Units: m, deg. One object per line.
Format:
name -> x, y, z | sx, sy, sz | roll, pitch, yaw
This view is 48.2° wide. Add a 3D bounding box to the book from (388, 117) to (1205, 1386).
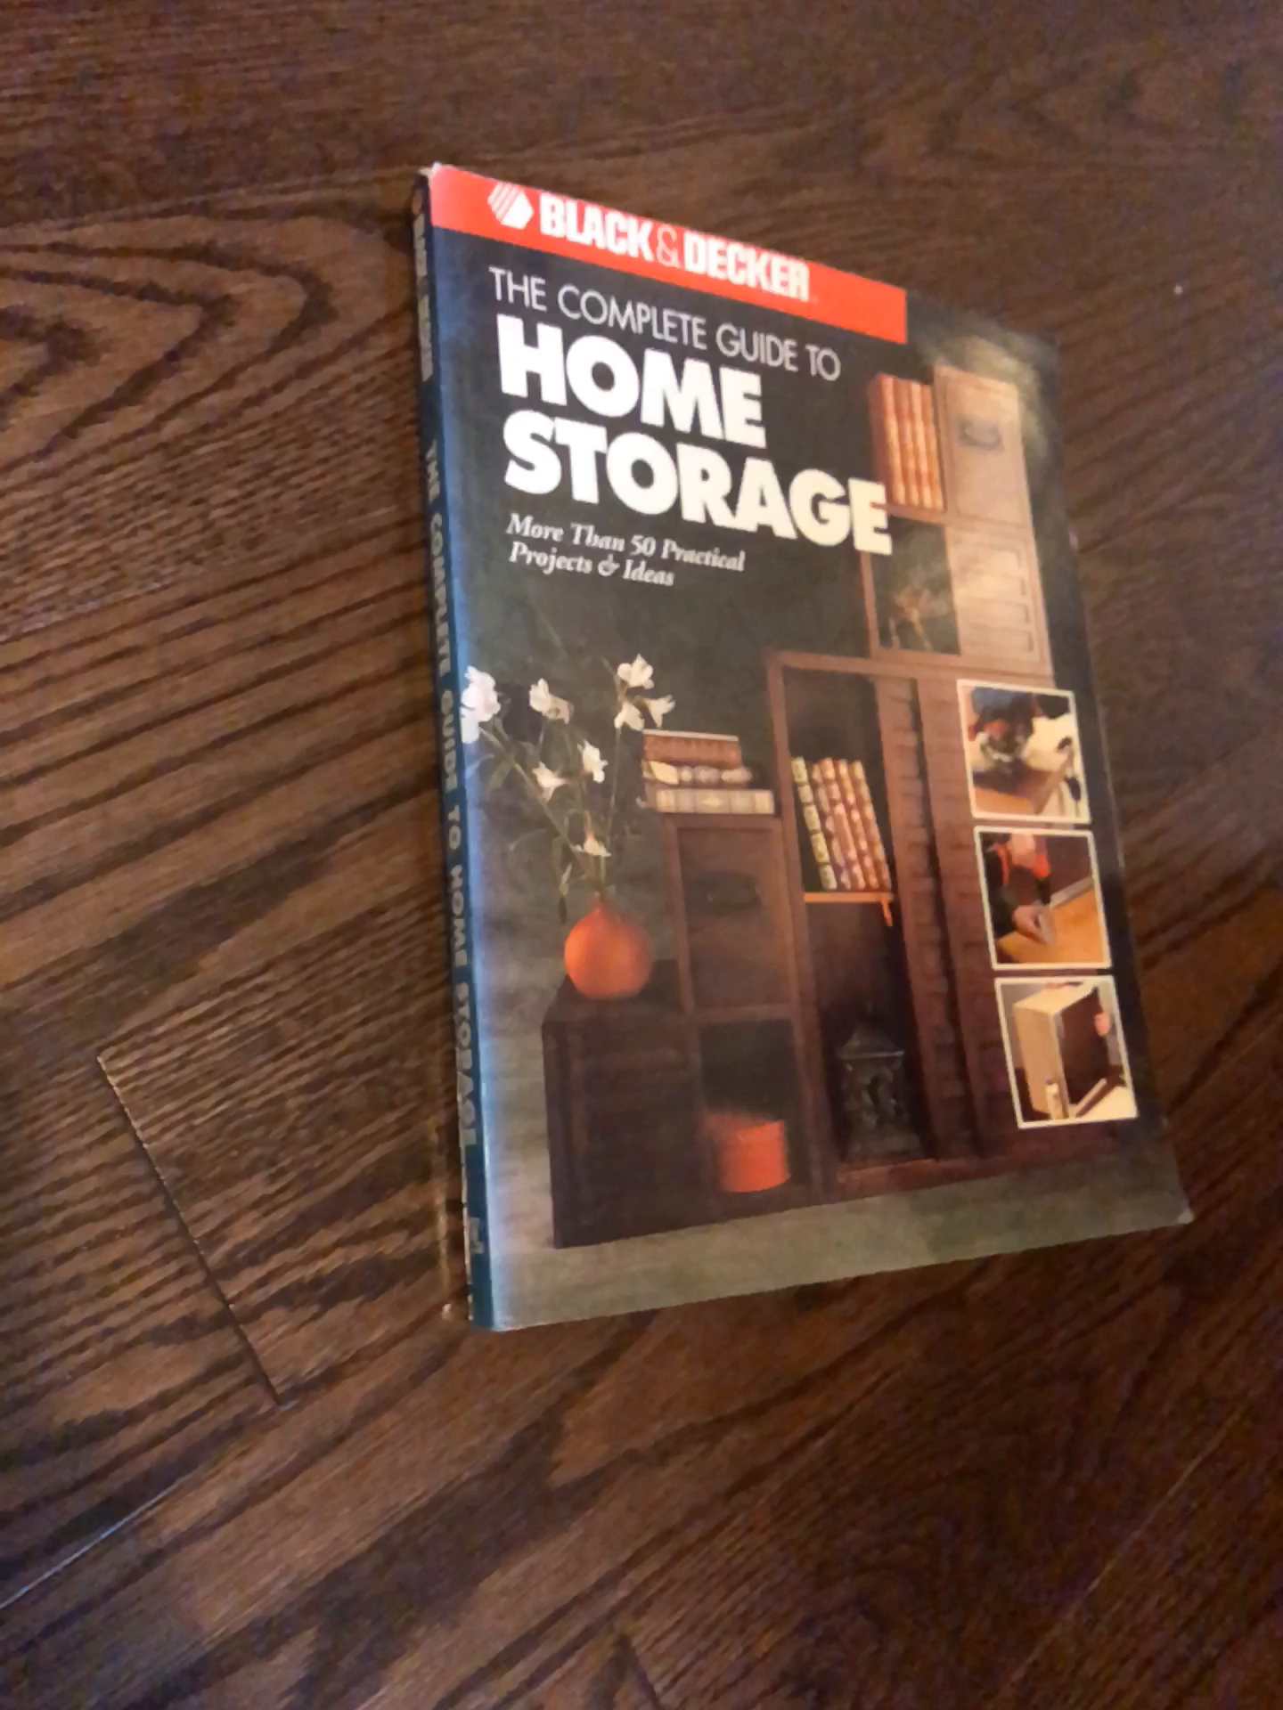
book -> 0.046, -0.030, 0.376 | 0.216, 0.020, 0.287 | 2, 78, -31
